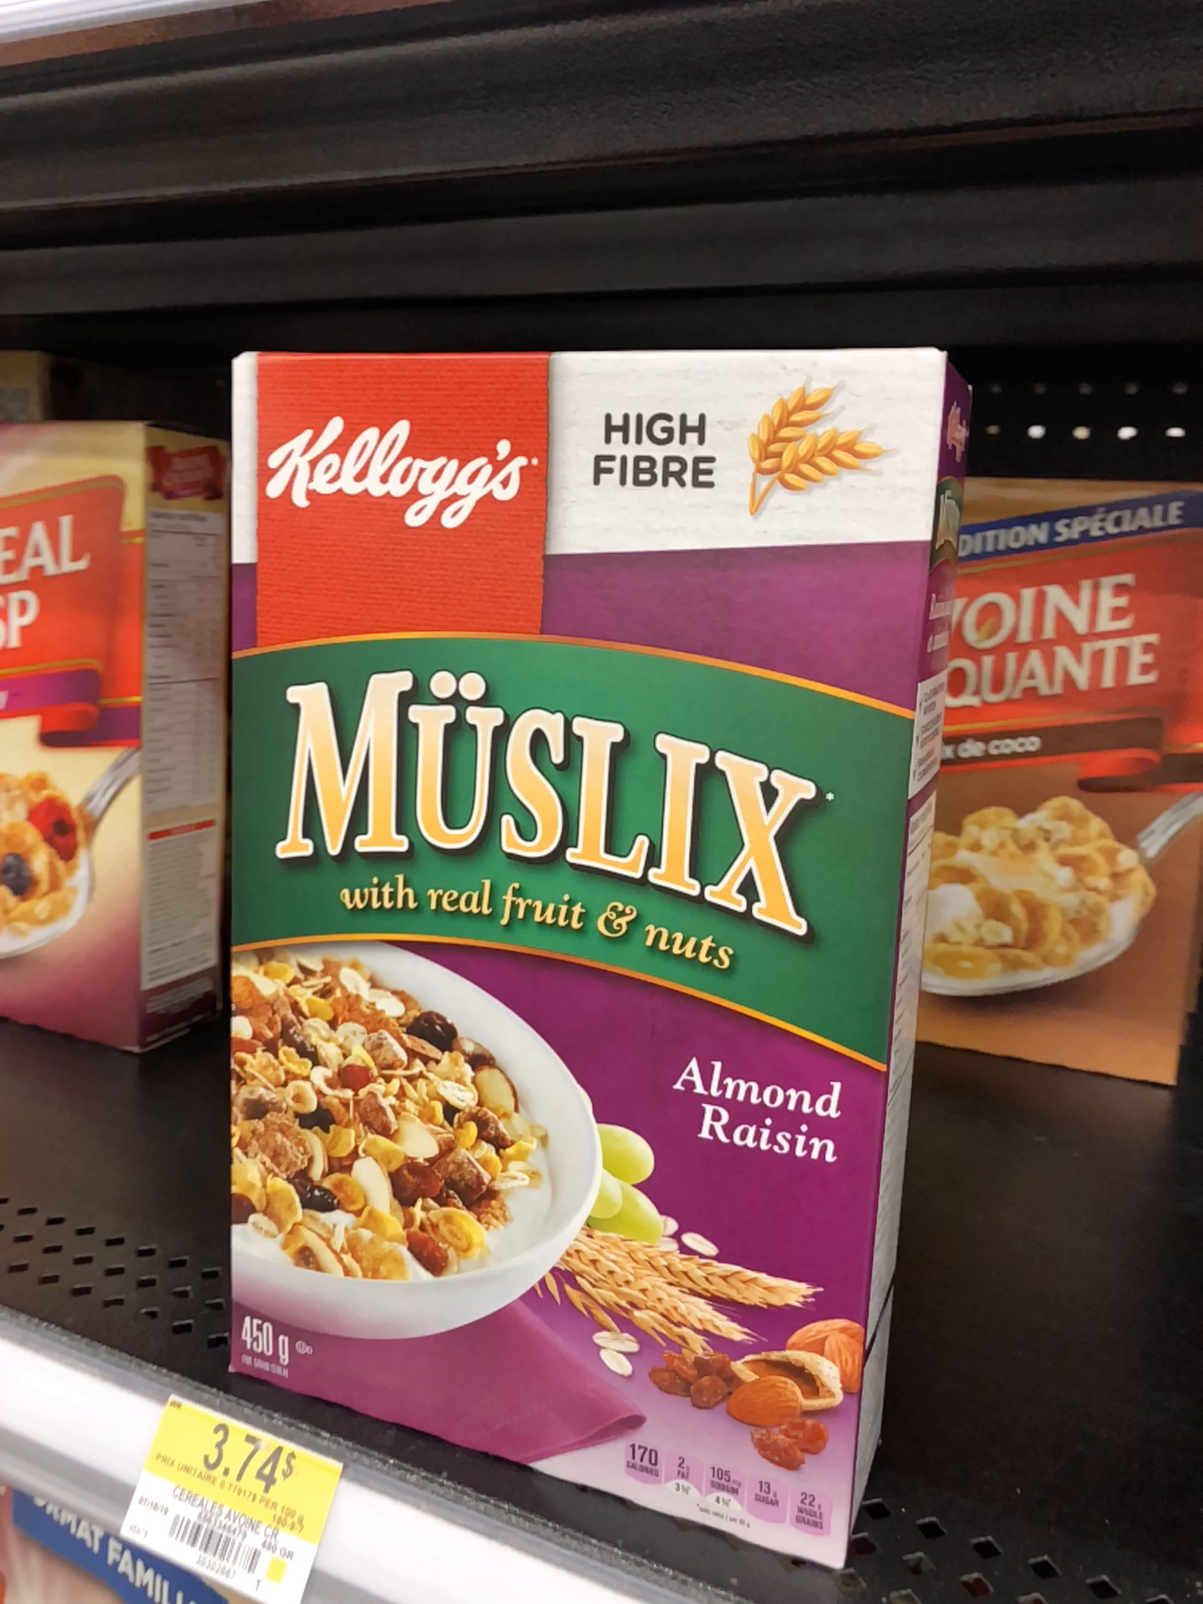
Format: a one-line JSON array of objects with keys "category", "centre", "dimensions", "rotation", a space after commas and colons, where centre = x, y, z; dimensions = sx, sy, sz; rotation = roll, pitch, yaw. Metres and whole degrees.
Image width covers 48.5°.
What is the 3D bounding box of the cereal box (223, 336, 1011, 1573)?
[{"category": "cereal box", "centre": [-0.004, 0.026, 0.328], "dimensions": [0.170, 0.259, 0.060], "rotation": [7, 11, 21]}]
